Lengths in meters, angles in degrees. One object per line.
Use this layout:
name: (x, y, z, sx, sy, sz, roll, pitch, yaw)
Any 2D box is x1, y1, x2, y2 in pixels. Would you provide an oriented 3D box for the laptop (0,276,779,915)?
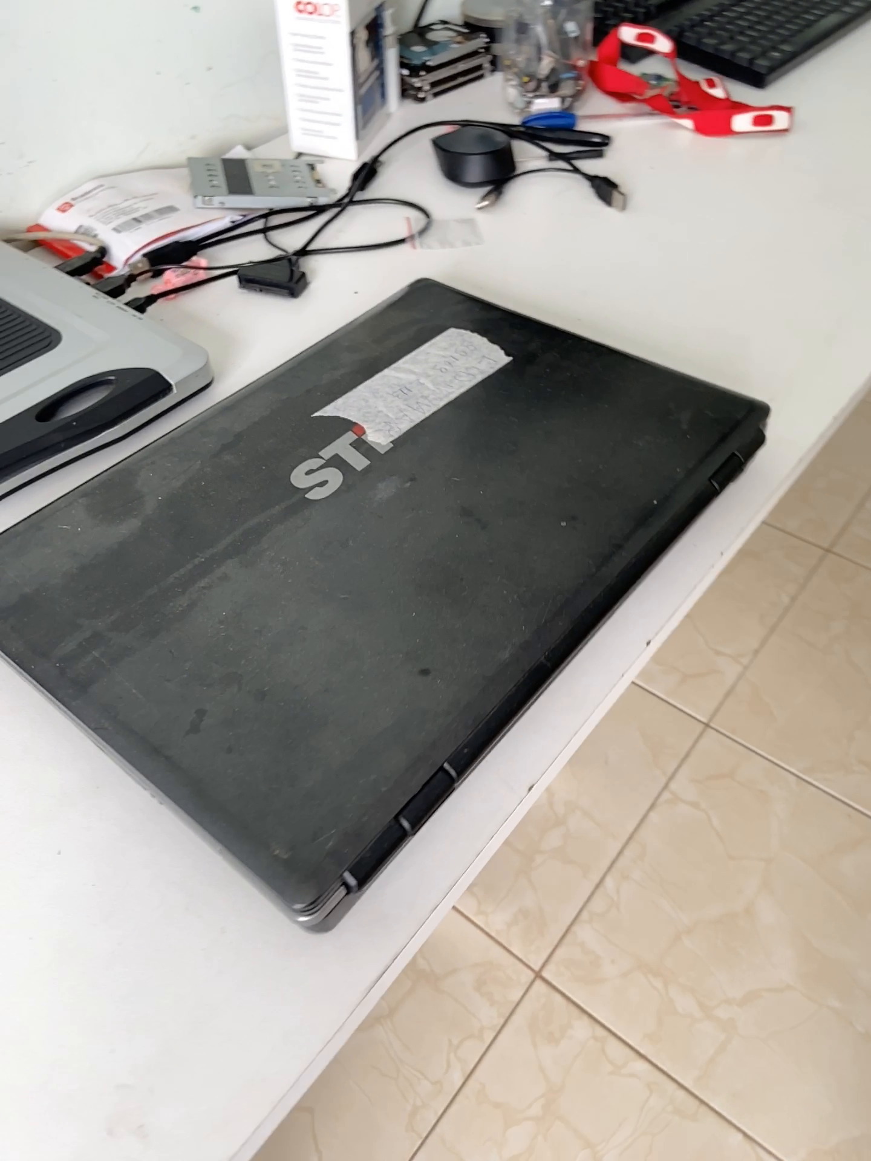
laptop: (-0.021, -0.042, 0.433, 0.235, 0.006, 0.339, 30, 55, 28)
